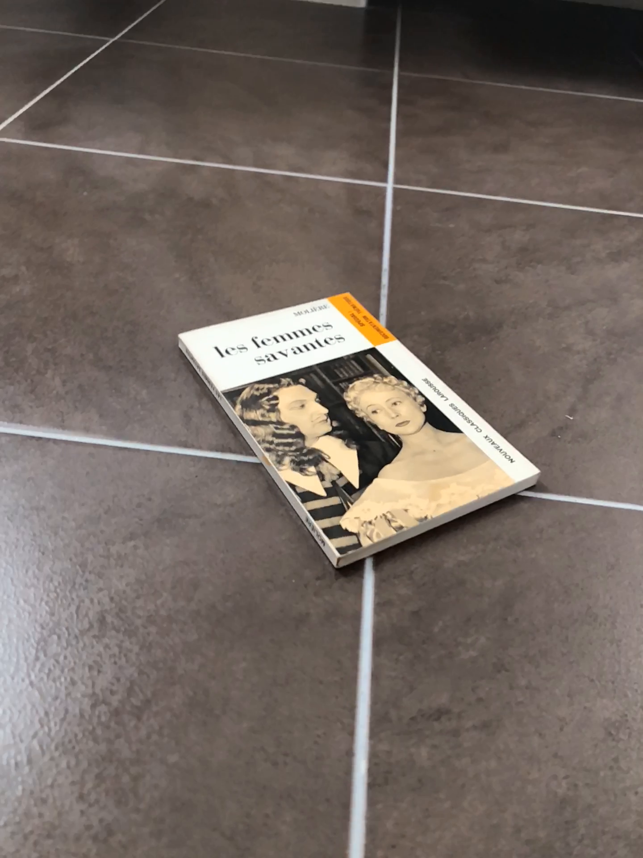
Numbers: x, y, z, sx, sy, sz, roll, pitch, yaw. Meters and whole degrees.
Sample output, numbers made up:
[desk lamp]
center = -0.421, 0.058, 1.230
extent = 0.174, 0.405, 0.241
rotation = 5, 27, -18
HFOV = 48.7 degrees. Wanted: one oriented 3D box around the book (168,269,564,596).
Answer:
[book]
center = 0.014, -0.014, 0.348
extent = 0.120, 0.020, 0.170
rotation = -18, 51, -25
